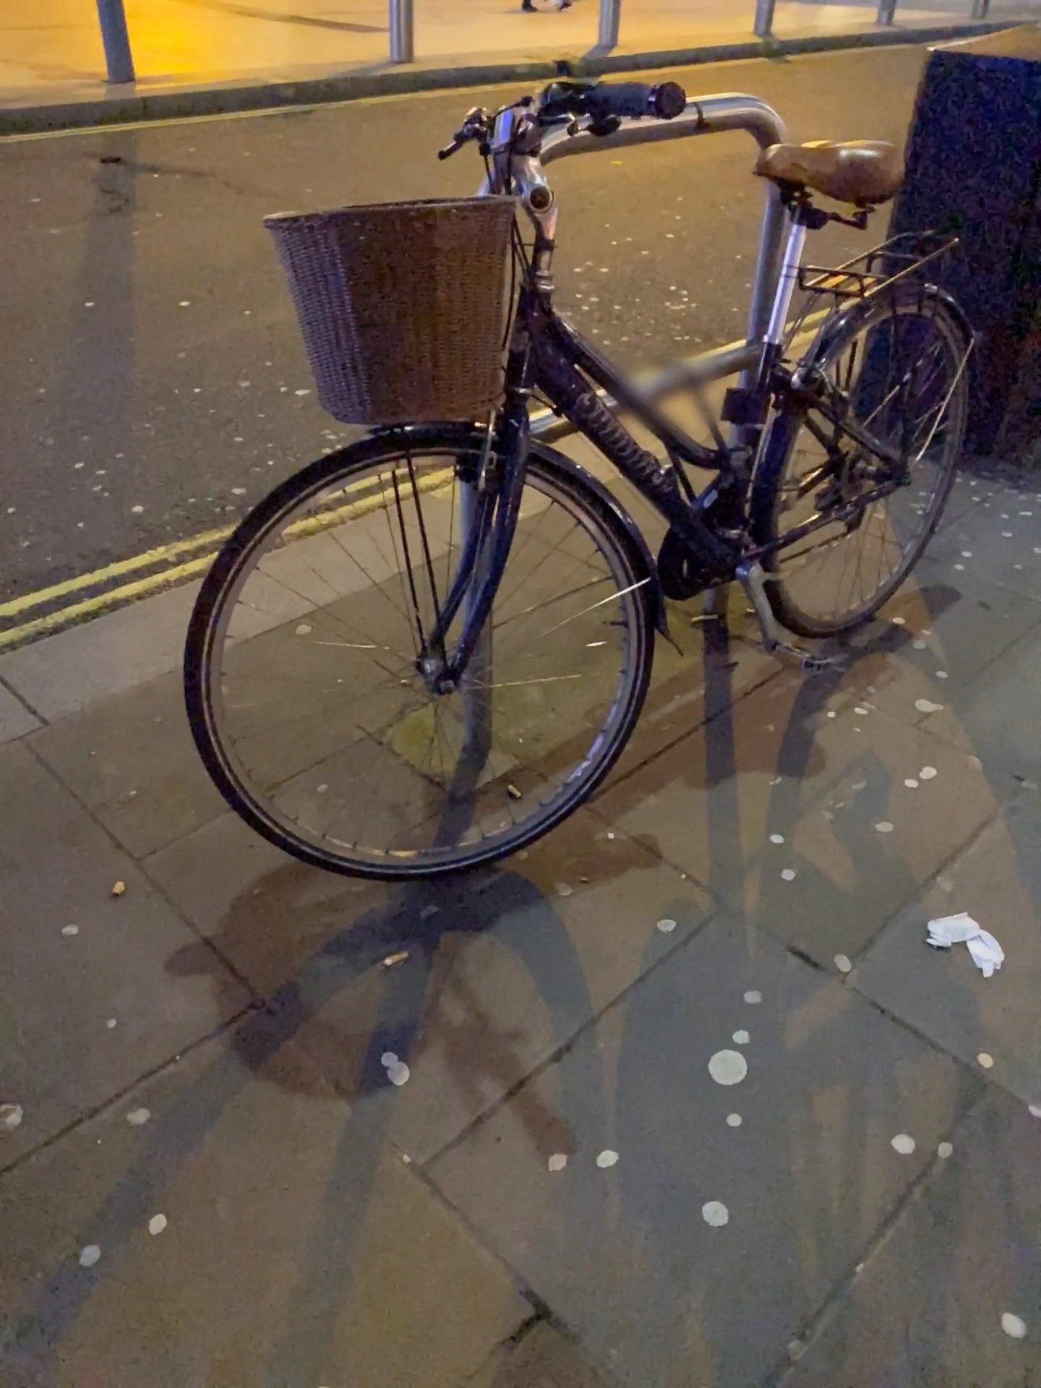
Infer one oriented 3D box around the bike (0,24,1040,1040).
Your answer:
[{"bbox_3d":[0.241,-0.422,1.791,1.714,1.063,0.662,-25,44,-29],"label":"bike"}]
